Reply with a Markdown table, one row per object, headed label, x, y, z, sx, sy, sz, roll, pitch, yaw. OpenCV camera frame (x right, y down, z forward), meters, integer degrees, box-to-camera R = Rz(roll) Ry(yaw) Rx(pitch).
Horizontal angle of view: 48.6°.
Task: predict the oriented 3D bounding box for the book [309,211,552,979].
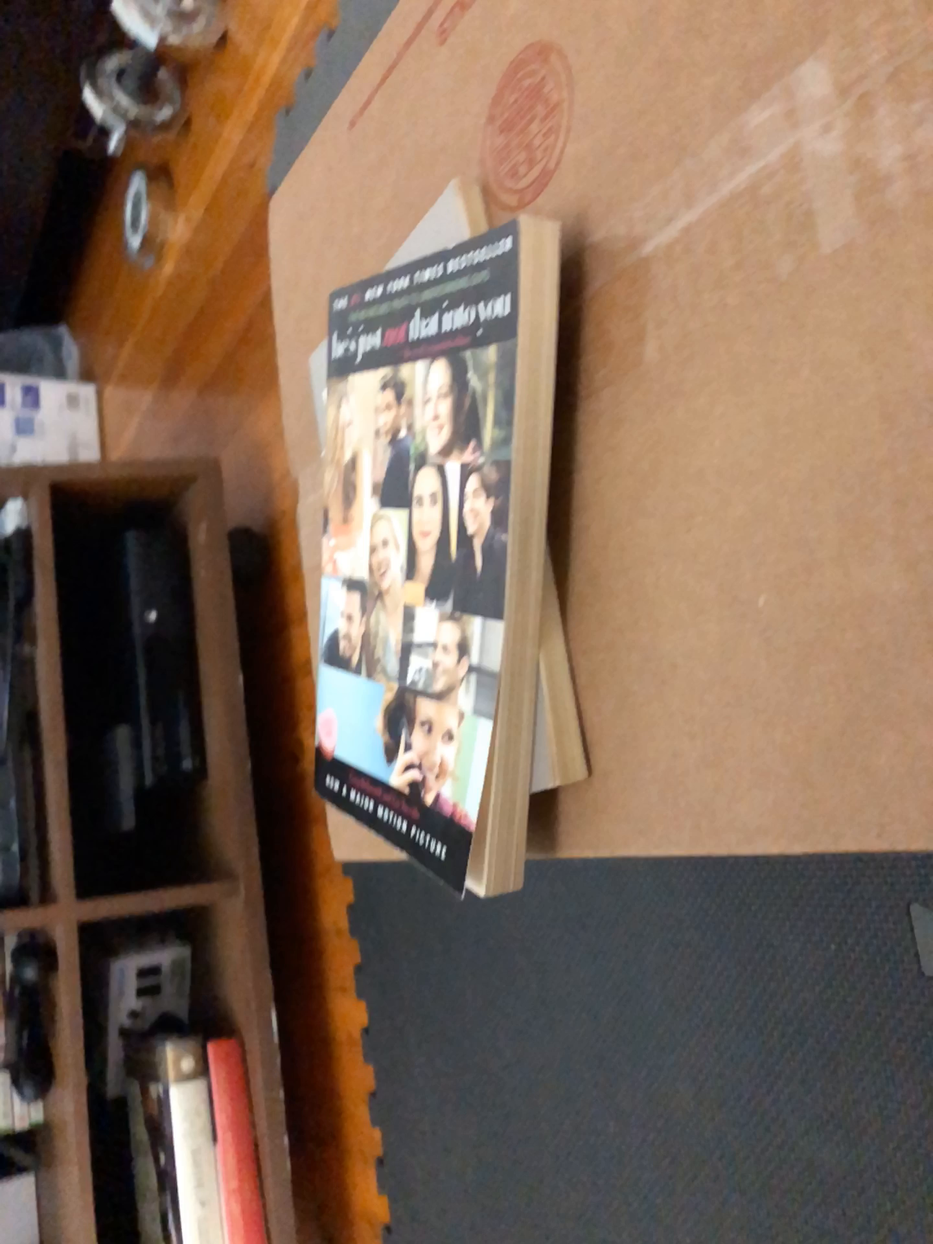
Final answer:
| label | x | y | z | sx | sy | sz | roll | pitch | yaw |
| --- | --- | --- | --- | --- | --- | --- | --- | --- | --- |
| book | -0.021 | -0.011 | 0.375 | 0.151 | 0.010 | 0.230 | 9 | 99 | 58 |
